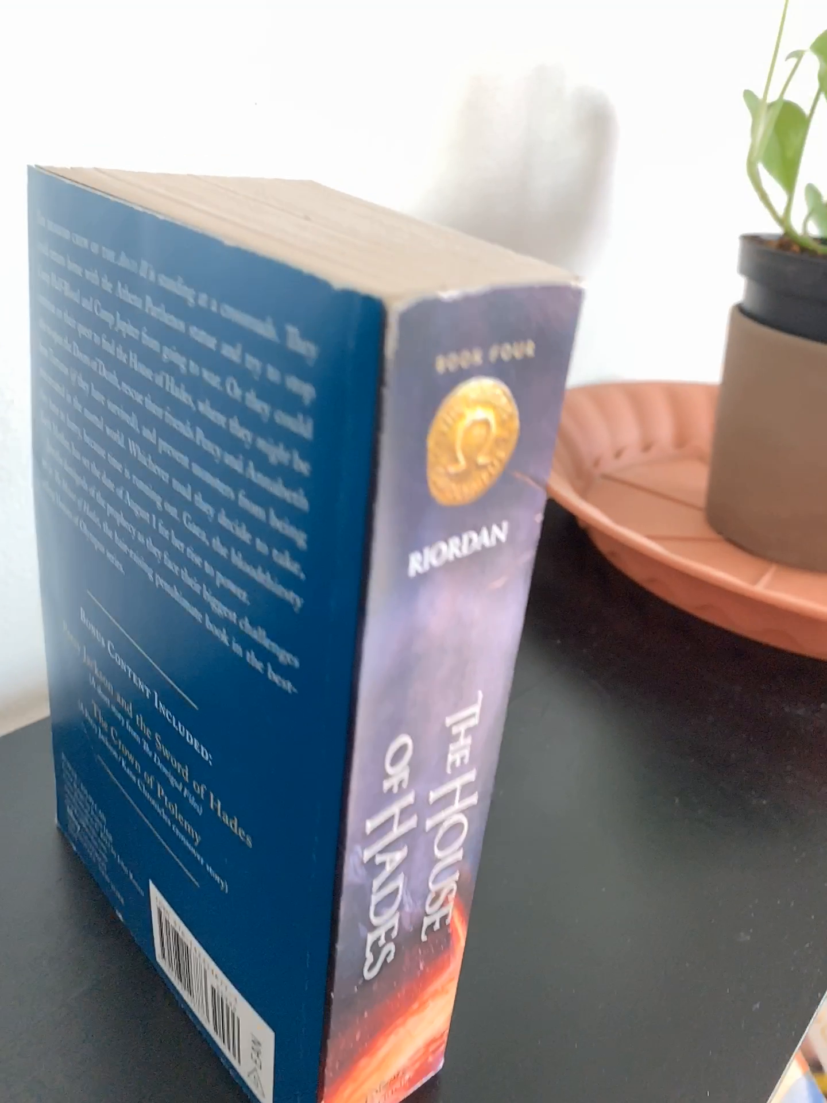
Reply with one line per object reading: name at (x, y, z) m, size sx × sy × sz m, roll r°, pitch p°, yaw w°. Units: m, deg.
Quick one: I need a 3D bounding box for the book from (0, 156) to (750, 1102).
book at (-0.030, 0.013, 0.200) m, size 0.077 × 0.176 × 0.145 m, roll -18°, pitch 34°, yaw -39°
